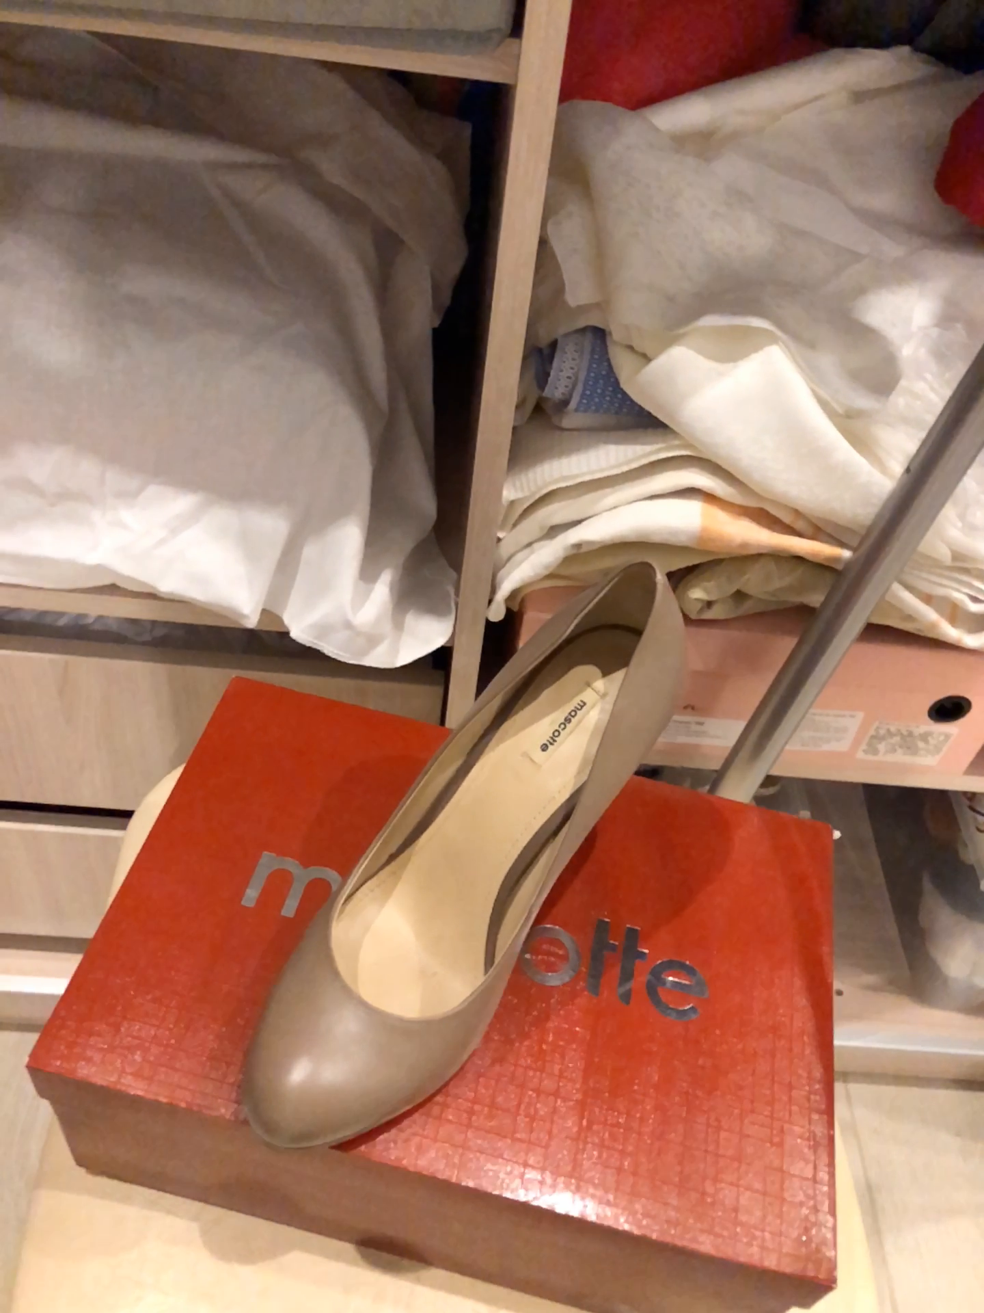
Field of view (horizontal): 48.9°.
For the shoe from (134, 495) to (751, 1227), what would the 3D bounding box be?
[{"bbox_3d":[-0.009,0.065,0.396,0.083,0.145,0.215,31,49,20],"label":"shoe"}]
